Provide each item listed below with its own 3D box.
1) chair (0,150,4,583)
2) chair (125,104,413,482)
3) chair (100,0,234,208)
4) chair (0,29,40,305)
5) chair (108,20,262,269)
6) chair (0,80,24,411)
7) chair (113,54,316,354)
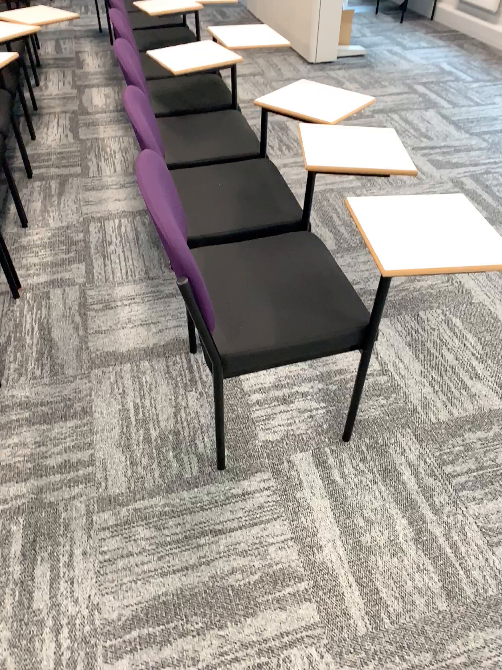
[{"bbox_3d":[-1.004,0.095,1.155,0.500,0.801,0.521,-6,43,-7],"label":"chair"},{"bbox_3d":[-0.001,-0.100,1.382,0.501,0.801,0.520,-10,44,-11],"label":"chair"},{"bbox_3d":[-0.393,-1.137,2.489,0.501,0.791,0.520,-10,44,-11],"label":"chair"},{"bbox_3d":[-1.192,-0.612,1.901,0.500,0.801,0.521,-7,44,-7],"label":"chair"},{"bbox_3d":[-0.263,-0.784,2.119,0.481,0.791,0.520,-10,44,-11],"label":"chair"},{"bbox_3d":[-1.098,-0.255,1.535,0.500,0.781,0.521,-7,44,-8],"label":"chair"},{"bbox_3d":[-0.136,-0.439,1.747,0.491,0.791,0.520,-10,44,-11],"label":"chair"}]
